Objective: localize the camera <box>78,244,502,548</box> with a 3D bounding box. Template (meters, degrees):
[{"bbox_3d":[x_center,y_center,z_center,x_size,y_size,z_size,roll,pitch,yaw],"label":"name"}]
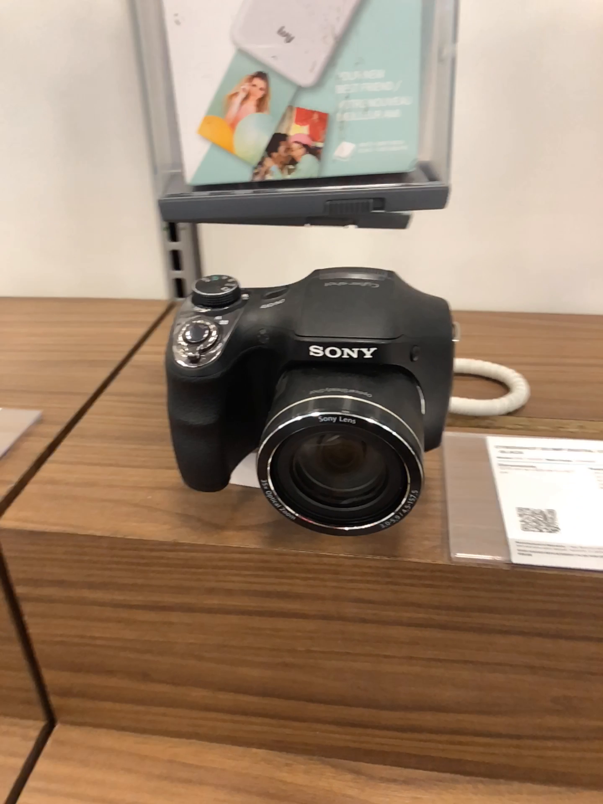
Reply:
[{"bbox_3d":[0.003,-0.013,0.291,0.140,0.080,0.120,2,28,8],"label":"camera"}]
